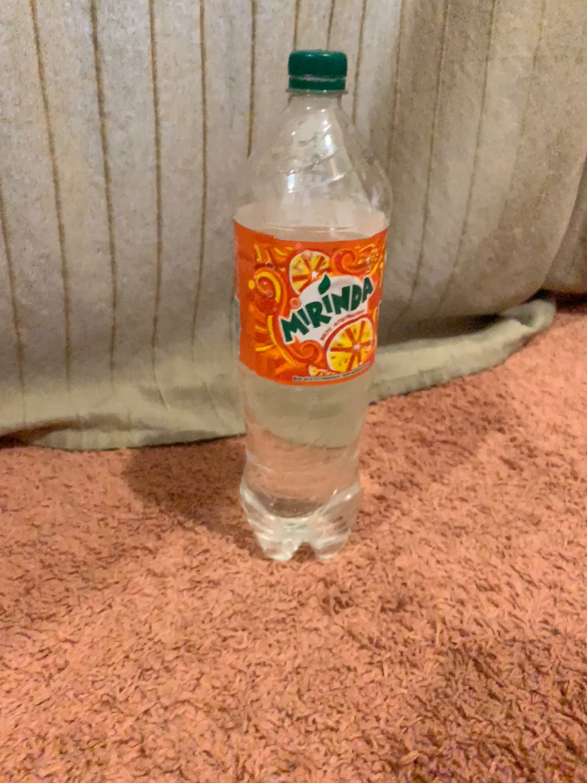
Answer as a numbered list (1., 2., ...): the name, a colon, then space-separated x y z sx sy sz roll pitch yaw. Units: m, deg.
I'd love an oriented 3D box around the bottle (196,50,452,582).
1. bottle: 0.006 -0.039 0.377 0.100 0.297 0.101 1 28 -1
